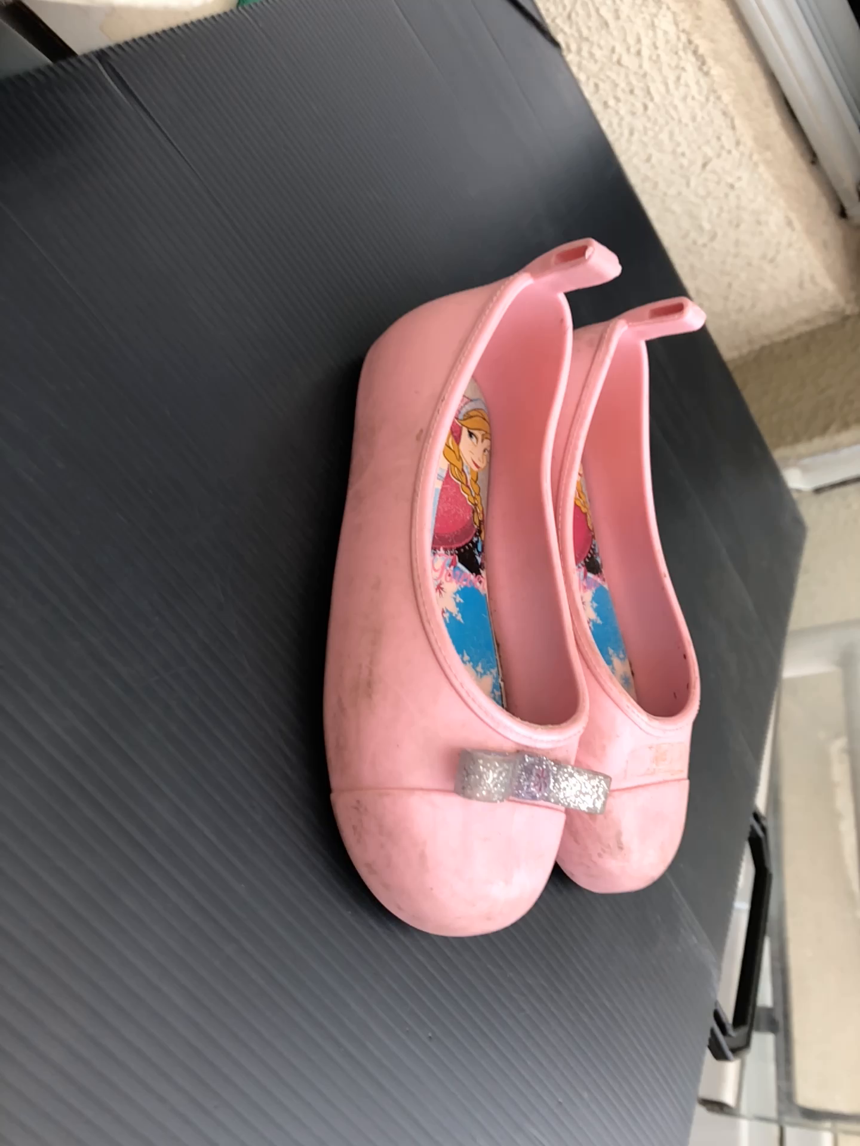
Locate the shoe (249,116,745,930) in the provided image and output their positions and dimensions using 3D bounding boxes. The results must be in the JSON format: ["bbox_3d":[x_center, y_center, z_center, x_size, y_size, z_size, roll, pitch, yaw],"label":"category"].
[{"bbox_3d":[0.016,-0.003,0.224,0.078,0.070,0.160,22,61,-47],"label":"shoe"}]

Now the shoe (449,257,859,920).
[{"bbox_3d":[0.063,0.010,0.275,0.078,0.070,0.160,13,67,-50],"label":"shoe"}]
